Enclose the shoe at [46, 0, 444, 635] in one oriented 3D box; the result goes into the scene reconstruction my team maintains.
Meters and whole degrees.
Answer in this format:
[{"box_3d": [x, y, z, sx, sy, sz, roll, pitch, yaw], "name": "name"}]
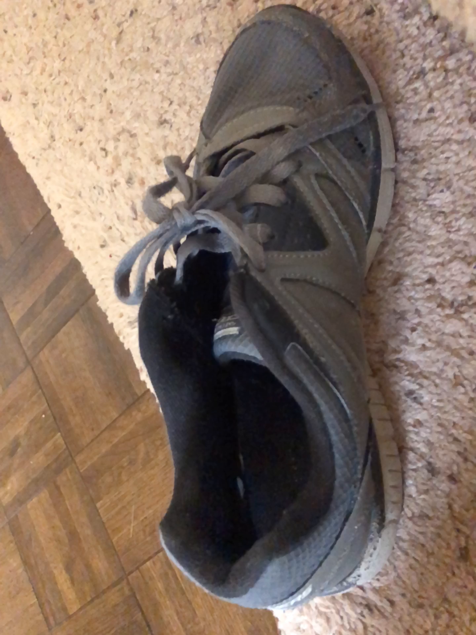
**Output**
[{"box_3d": [0.007, -0.017, 0.242, 0.110, 0.140, 0.300, -8, 81, 30], "name": "shoe"}]
